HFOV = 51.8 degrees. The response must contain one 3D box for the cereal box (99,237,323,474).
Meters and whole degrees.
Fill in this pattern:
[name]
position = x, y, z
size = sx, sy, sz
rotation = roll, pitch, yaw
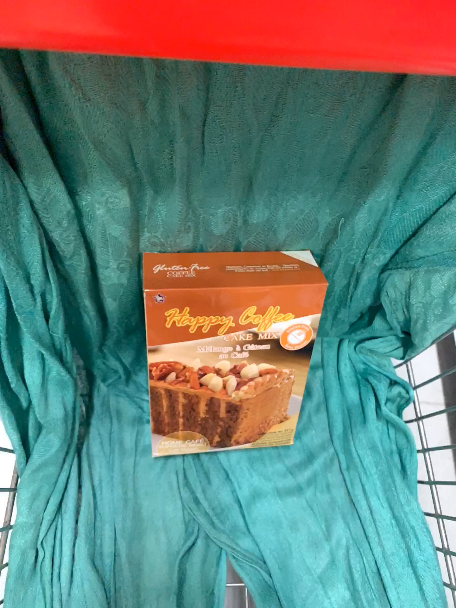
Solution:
[cereal box]
position = -0.020, 0.050, 0.393
size = 0.150, 0.210, 0.050
rotation = -2, 37, -10
